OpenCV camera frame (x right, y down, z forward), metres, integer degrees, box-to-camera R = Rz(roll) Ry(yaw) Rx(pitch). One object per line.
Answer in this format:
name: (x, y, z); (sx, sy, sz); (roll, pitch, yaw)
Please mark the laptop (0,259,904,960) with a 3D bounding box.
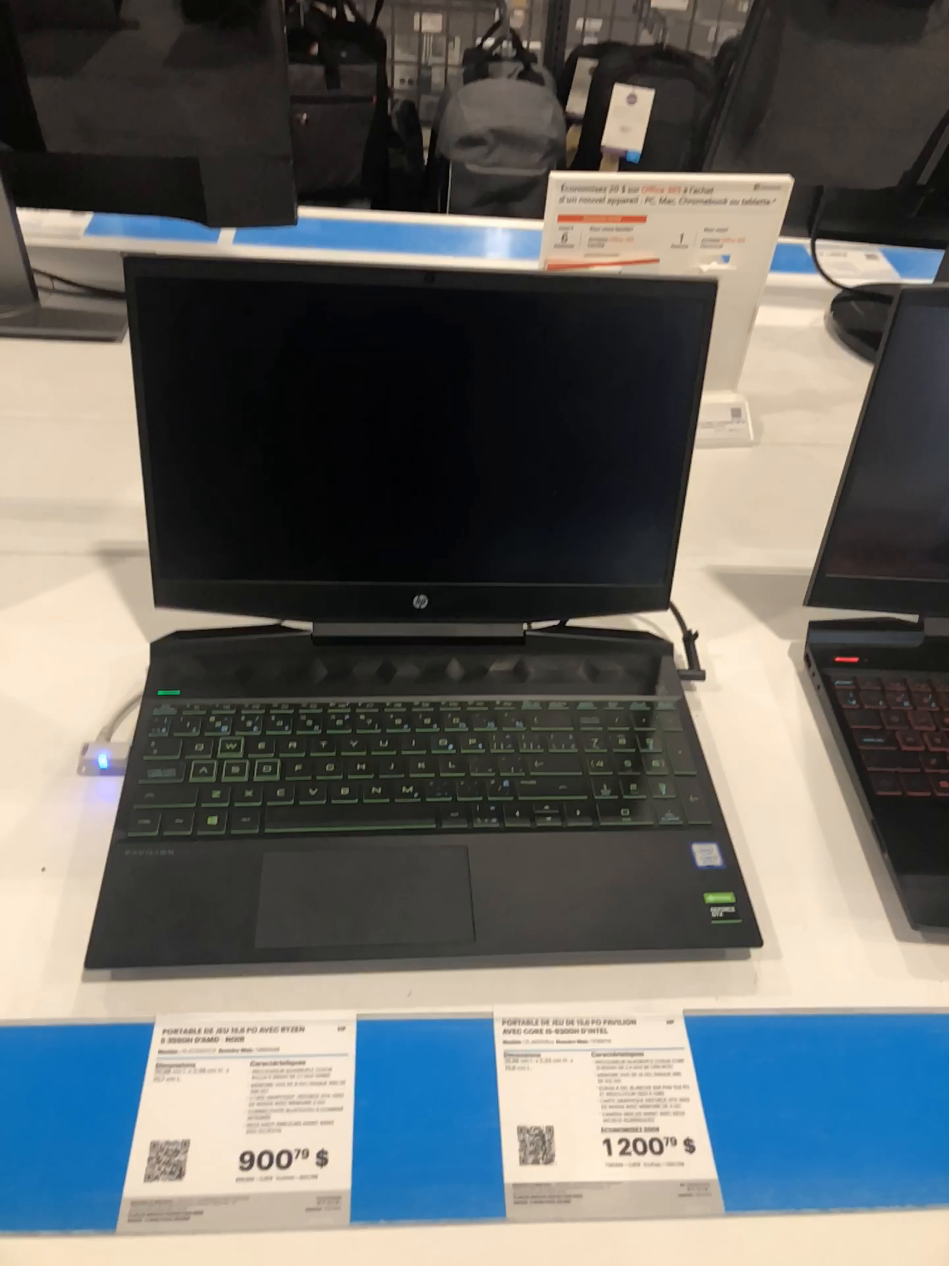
laptop: (-0.025, -0.025, 0.591); (0.355, 0.232, 0.317); (0, 41, -8)
